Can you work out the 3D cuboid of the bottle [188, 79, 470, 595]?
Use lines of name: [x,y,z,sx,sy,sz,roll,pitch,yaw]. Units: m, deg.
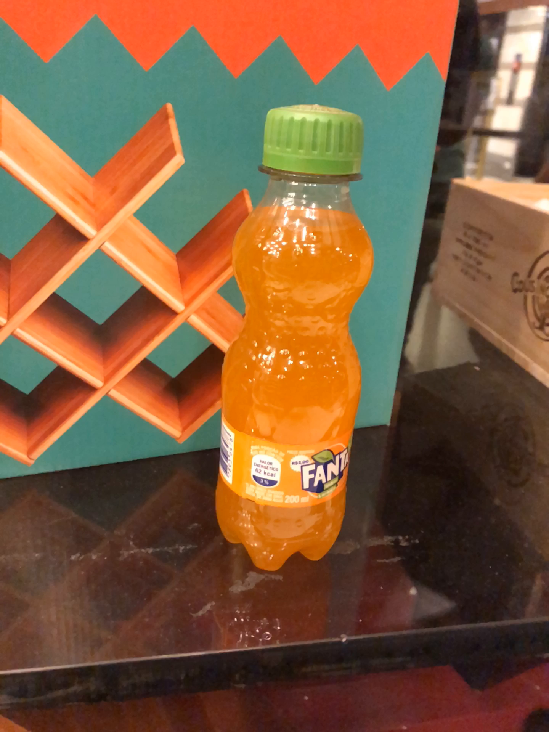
bottle: [0.010,-0.011,0.216,0.060,0.159,0.060,3,24,-1]
